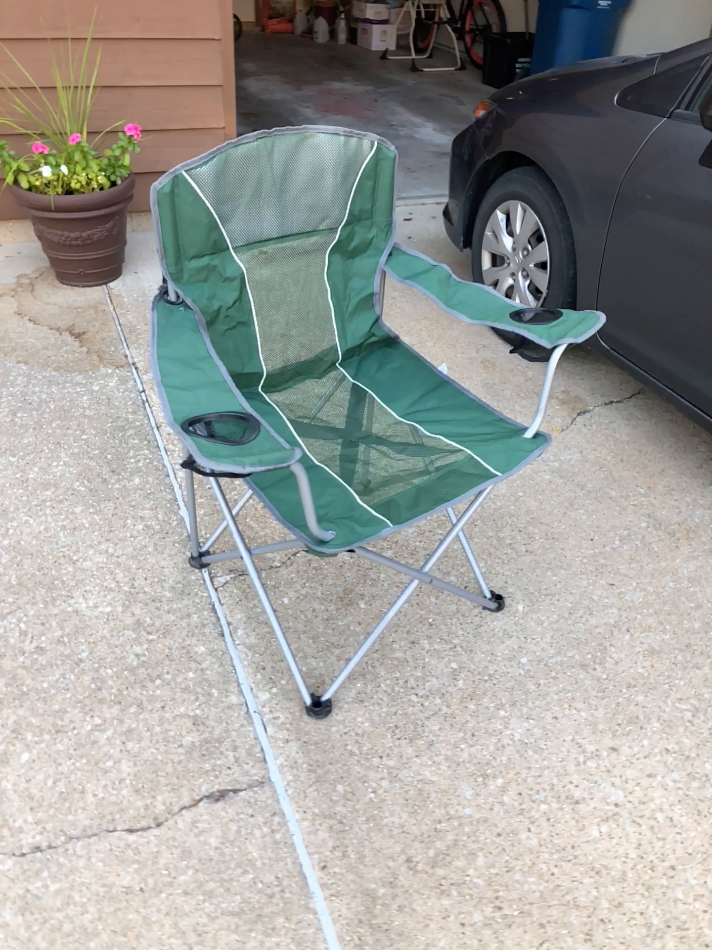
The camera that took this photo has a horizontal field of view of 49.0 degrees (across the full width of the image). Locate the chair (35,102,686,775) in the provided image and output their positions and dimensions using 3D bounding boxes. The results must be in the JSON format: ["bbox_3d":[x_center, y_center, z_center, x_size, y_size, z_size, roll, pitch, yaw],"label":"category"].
[{"bbox_3d":[-0.011,-0.136,1.509,0.821,0.908,0.641,-22,42,-31],"label":"chair"}]
